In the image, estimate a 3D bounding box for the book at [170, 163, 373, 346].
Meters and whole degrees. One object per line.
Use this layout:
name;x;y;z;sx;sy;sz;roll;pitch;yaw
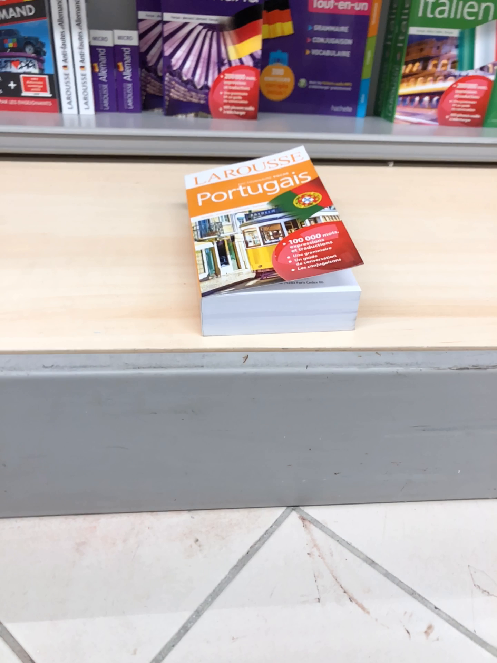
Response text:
book;0.004;-0.070;0.422;0.118;0.046;0.186;-3;39;-10
